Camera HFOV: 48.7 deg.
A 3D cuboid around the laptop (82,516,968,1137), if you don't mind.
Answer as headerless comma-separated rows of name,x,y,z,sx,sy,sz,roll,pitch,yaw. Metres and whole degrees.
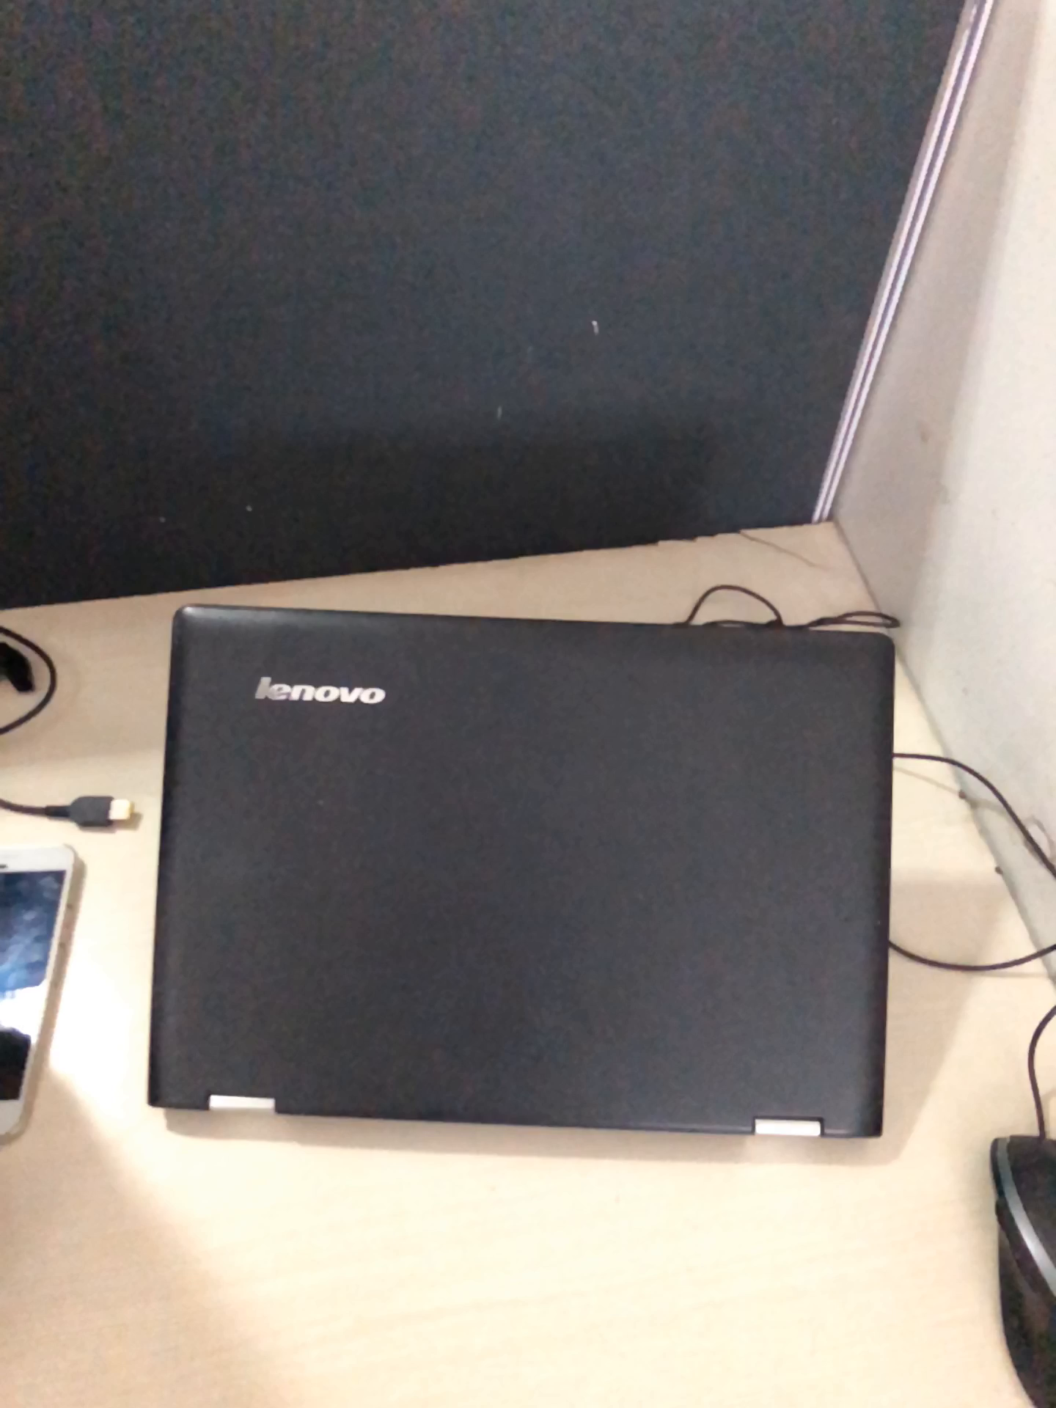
laptop,-0.001,0.057,0.530,0.324,0.142,0.205,2,58,0
